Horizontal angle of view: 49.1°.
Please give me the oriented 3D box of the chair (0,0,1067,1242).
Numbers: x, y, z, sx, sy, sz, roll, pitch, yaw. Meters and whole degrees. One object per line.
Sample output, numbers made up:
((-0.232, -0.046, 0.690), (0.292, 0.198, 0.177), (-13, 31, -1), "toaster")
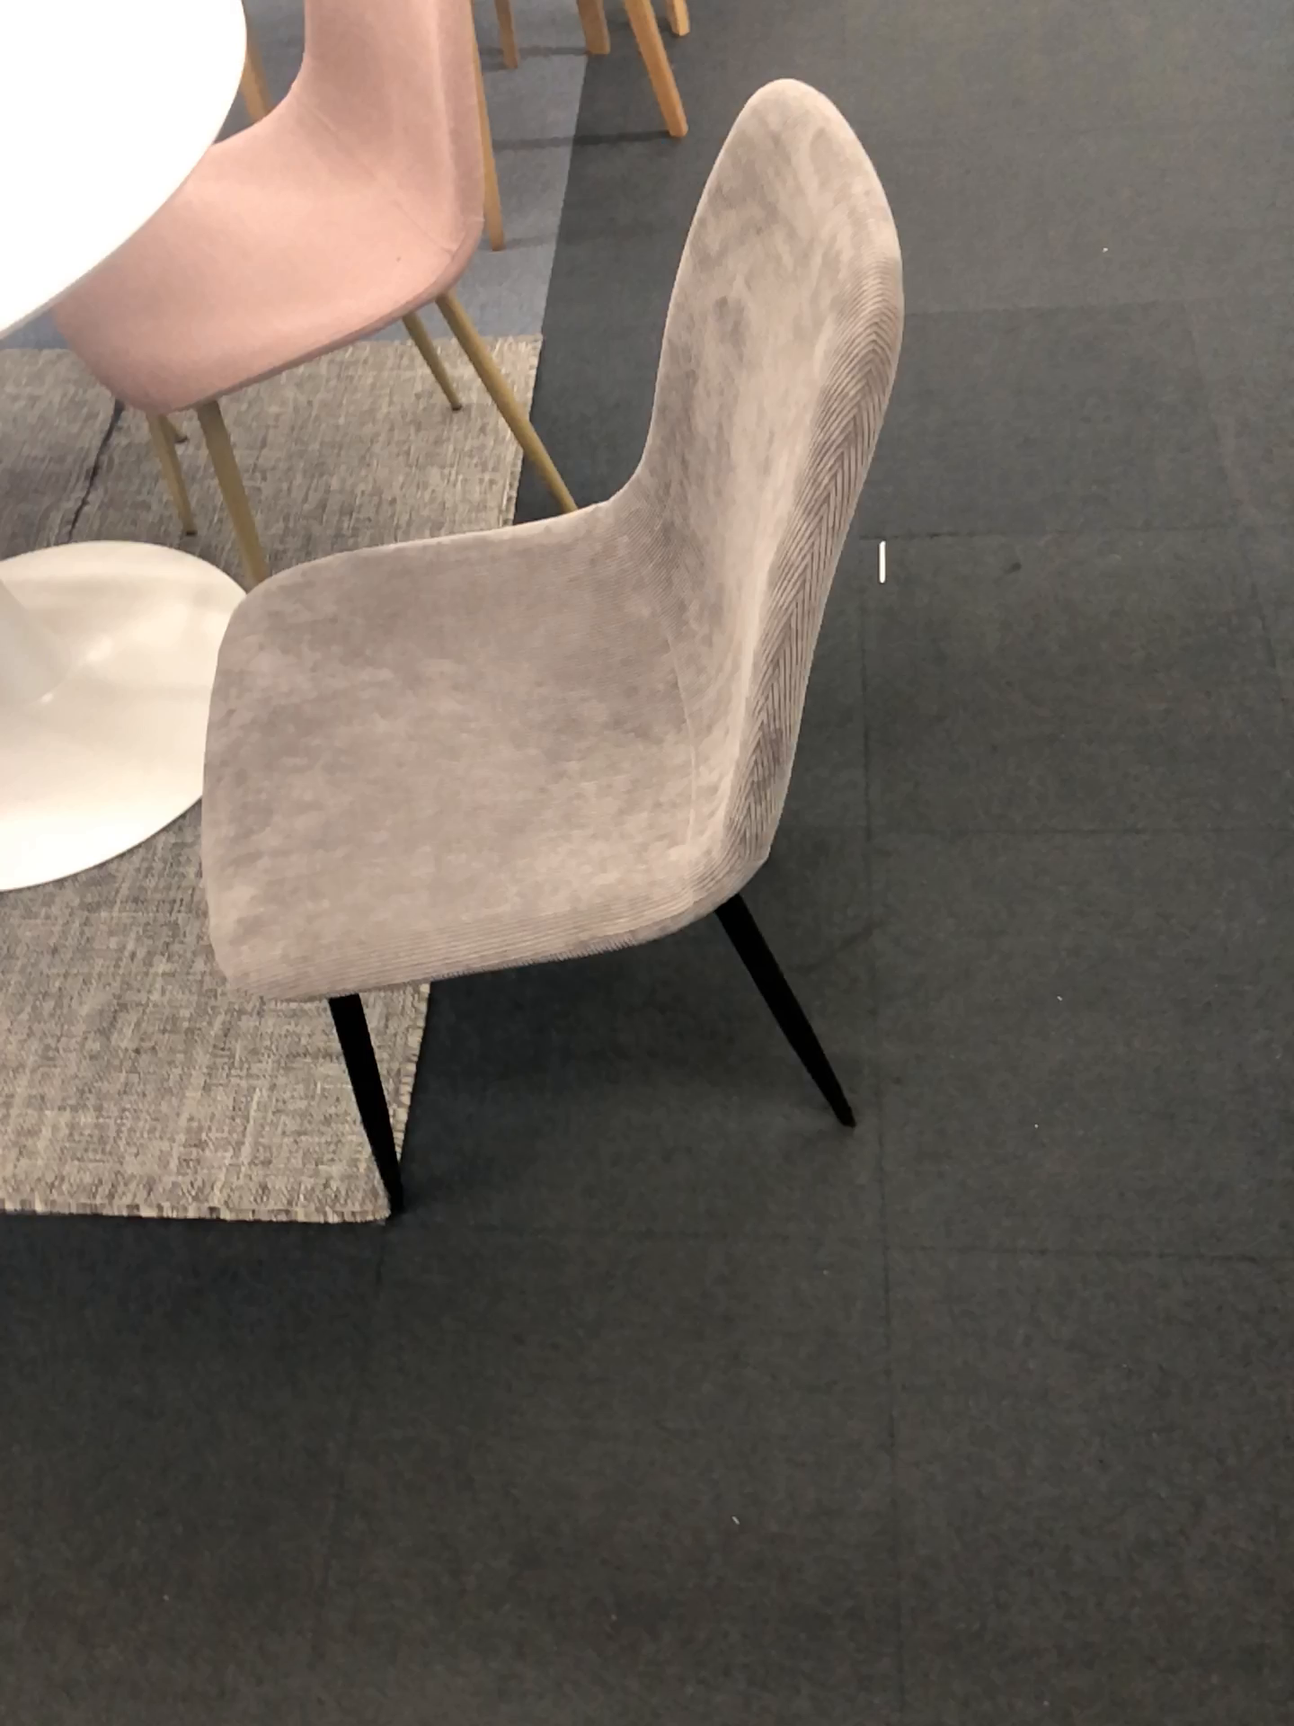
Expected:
((-0.085, -0.148, 1.171), (0.580, 0.808, 0.582), (-8, 55, 1), "chair")
